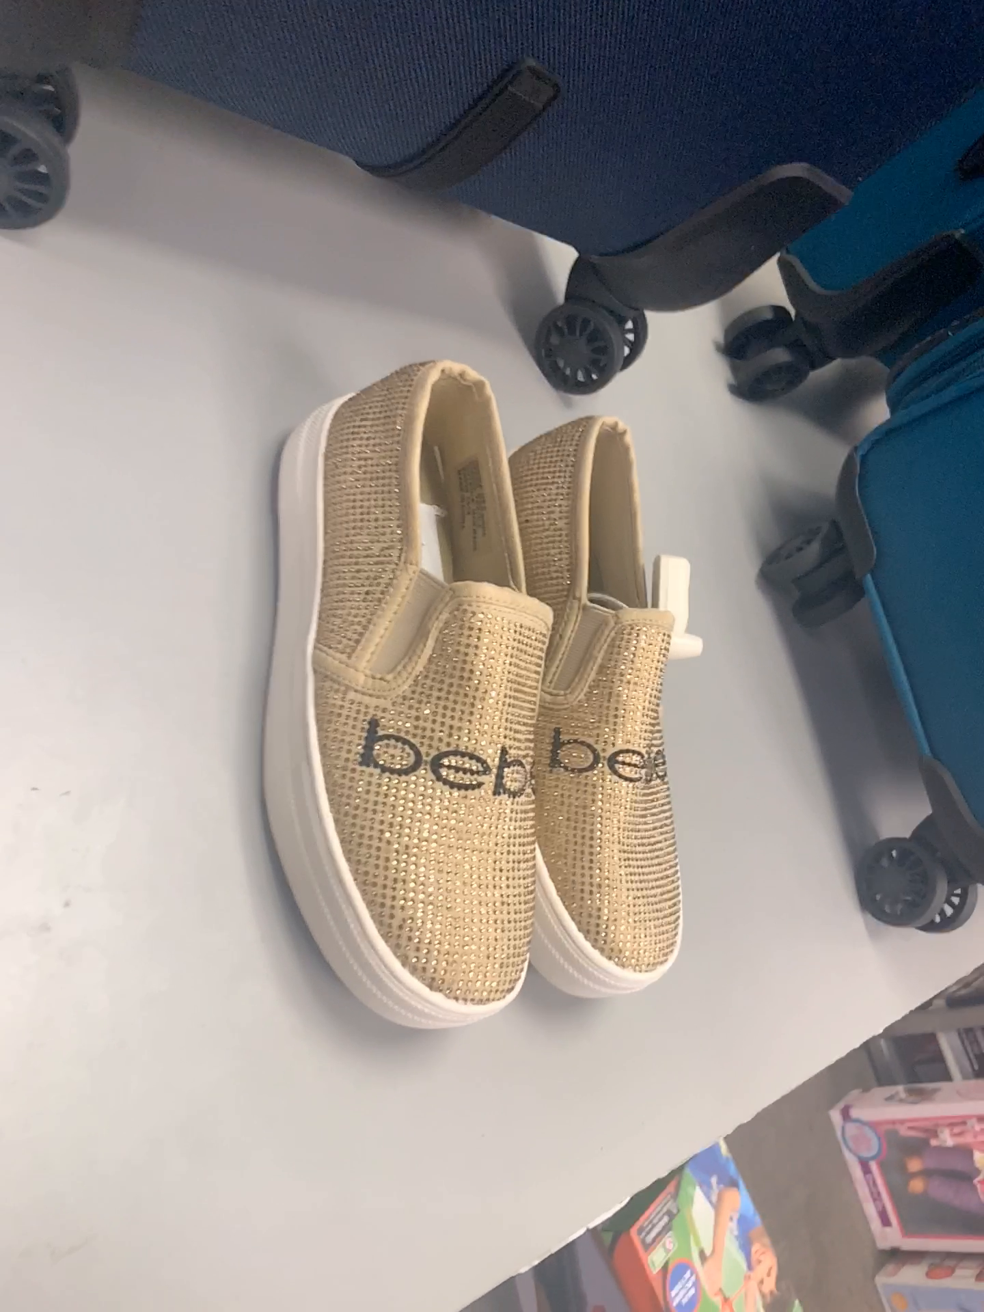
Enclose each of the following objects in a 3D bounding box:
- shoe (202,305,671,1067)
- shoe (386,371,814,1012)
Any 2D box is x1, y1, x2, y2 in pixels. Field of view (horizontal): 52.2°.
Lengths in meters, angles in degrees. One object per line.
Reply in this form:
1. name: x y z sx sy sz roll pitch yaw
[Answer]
1. shoe: -0.027 0.011 0.345 0.094 0.086 0.222 6 65 -41
2. shoe: 0.036 0.015 0.404 0.094 0.086 0.222 6 65 -41
